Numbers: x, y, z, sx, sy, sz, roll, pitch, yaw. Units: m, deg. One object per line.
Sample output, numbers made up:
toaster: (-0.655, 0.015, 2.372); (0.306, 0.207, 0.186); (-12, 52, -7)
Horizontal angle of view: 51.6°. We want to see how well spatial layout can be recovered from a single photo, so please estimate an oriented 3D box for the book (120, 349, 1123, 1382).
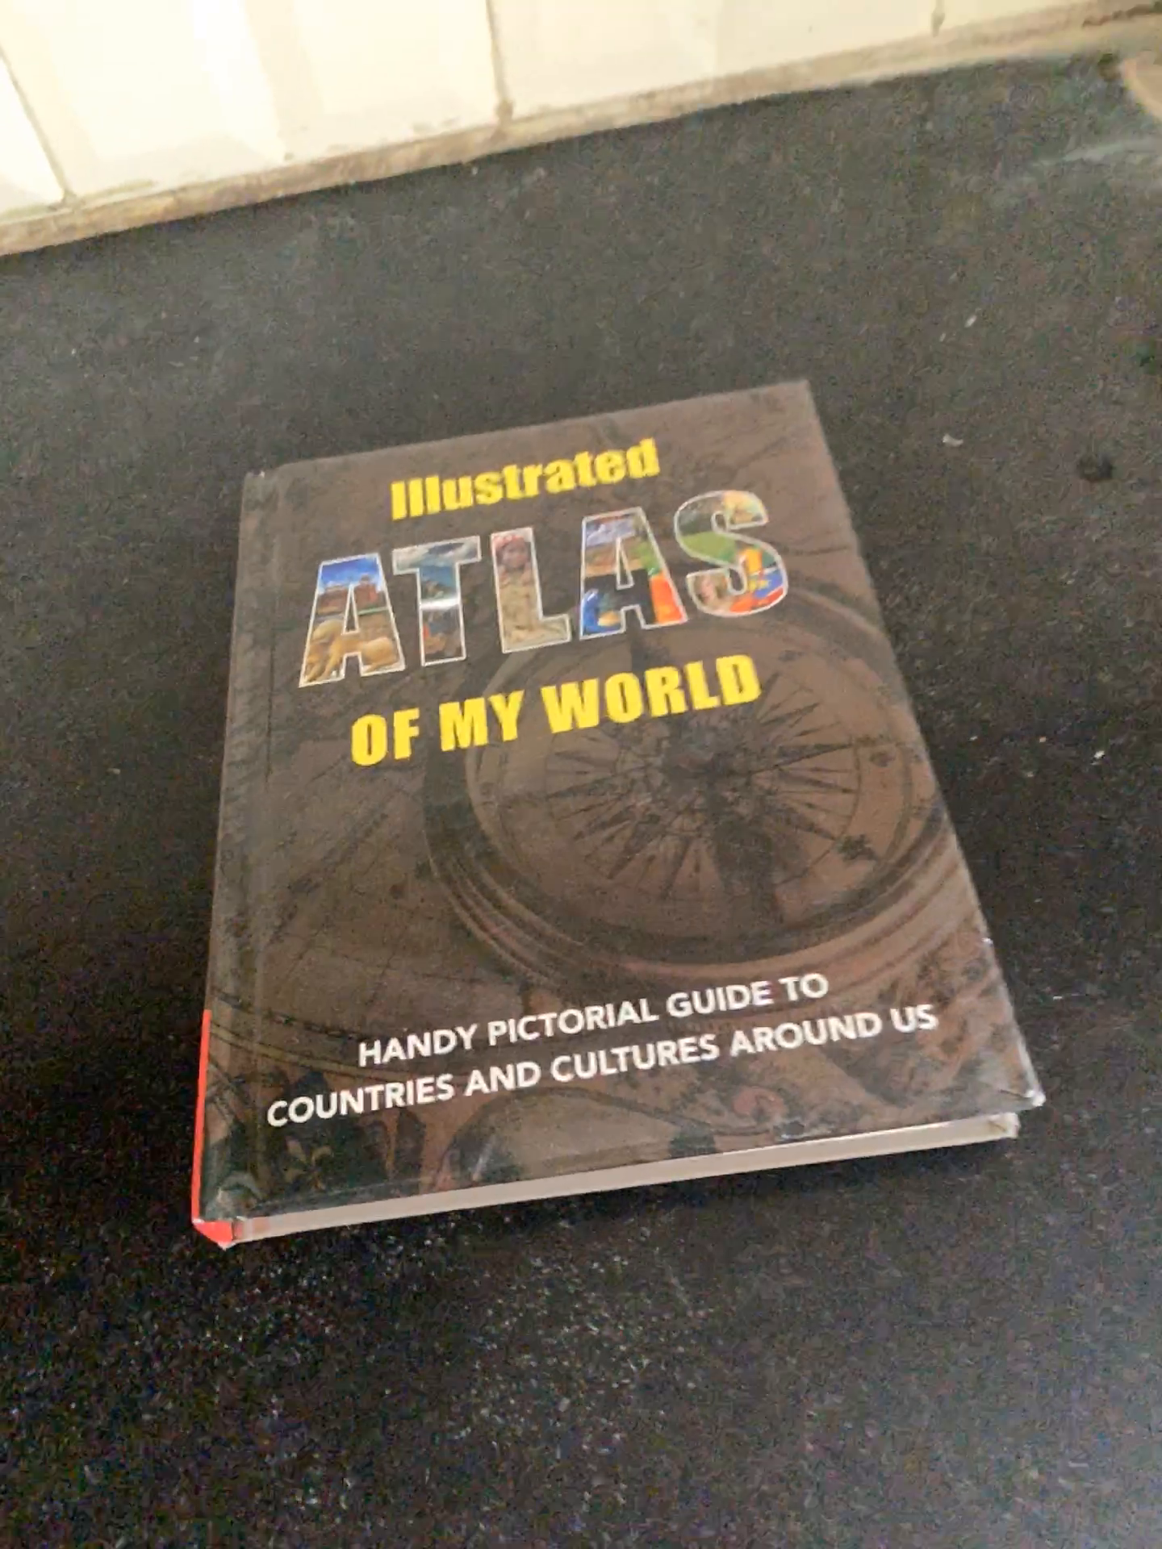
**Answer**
book: (-0.007, 0.000, 0.330); (0.200, 0.040, 0.272); (-9, 56, 1)
